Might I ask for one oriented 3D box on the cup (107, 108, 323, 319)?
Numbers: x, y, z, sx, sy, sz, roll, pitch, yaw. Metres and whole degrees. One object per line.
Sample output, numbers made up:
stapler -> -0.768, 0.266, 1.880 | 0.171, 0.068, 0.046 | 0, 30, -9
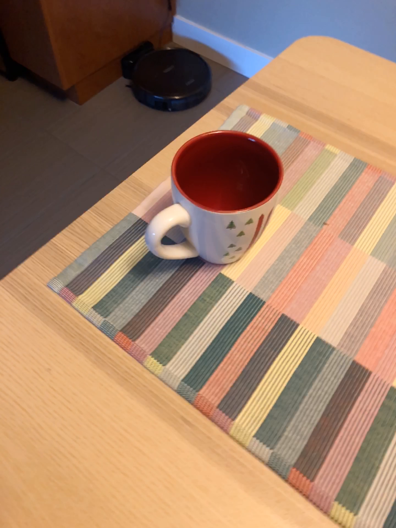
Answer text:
cup -> 0.013, -0.046, 0.385 | 0.140, 0.090, 0.100 | -32, 63, -21
